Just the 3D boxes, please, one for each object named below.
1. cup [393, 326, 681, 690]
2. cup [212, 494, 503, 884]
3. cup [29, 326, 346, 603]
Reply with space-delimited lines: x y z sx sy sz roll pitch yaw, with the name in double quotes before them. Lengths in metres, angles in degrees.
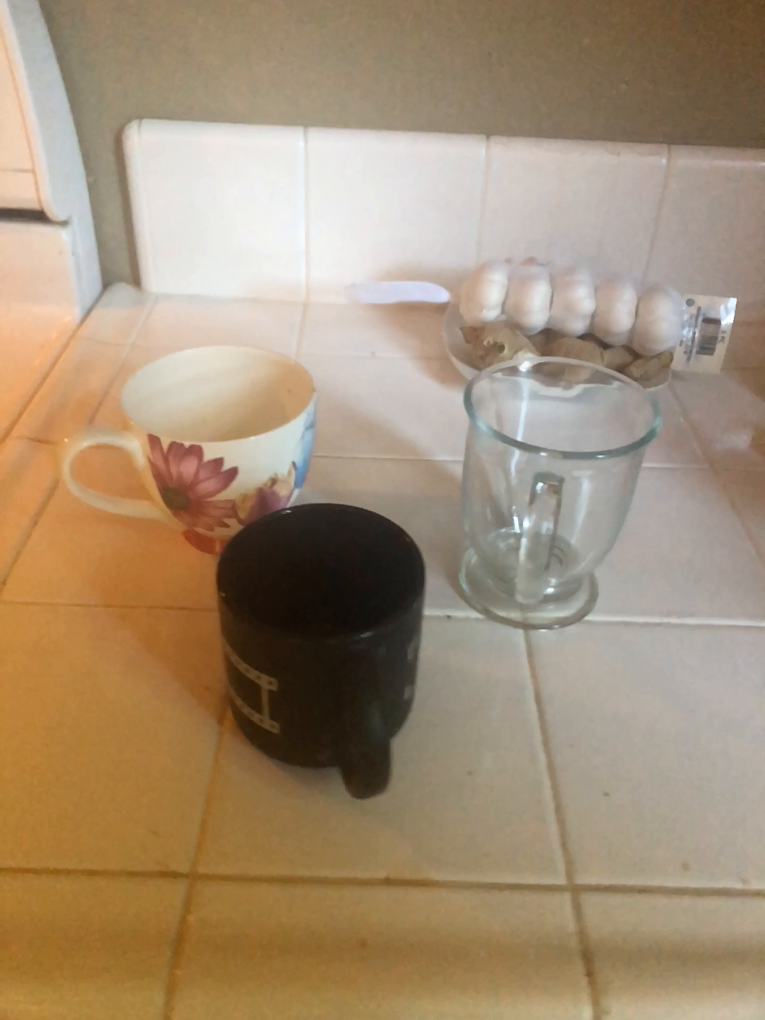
"cup" 0.079 -0.006 0.439 0.100 0.119 0.121 18 41 18
"cup" -0.019 0.072 0.372 0.100 0.089 0.131 -4 39 -10
"cup" -0.109 -0.033 0.481 0.141 0.079 0.111 -17 43 -24
